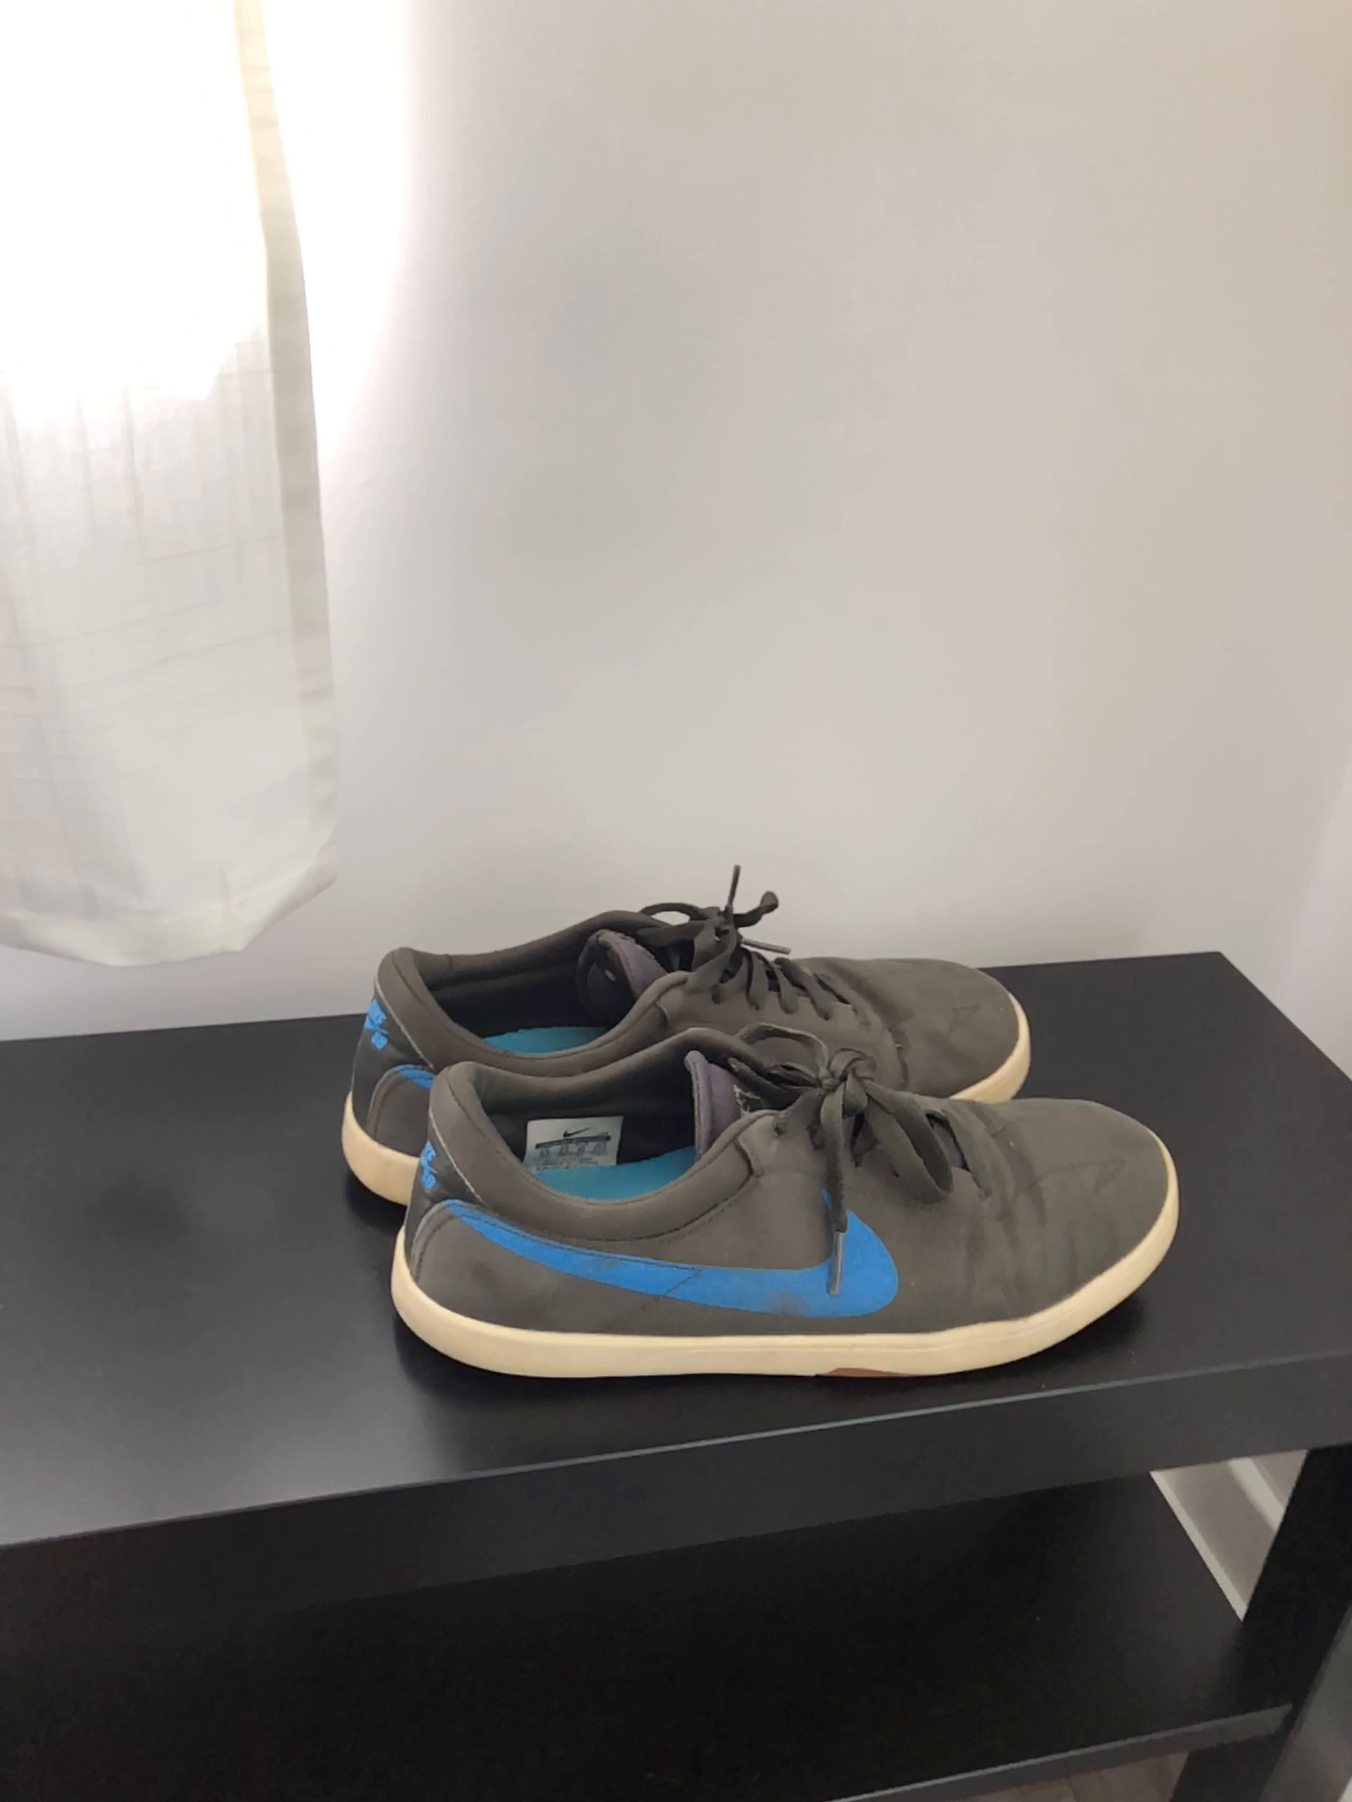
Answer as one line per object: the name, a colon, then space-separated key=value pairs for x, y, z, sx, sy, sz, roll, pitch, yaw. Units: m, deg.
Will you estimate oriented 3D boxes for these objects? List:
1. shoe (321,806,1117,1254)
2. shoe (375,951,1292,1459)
shoe: x=0.011 y=0.042 z=0.580 sx=0.280 sy=0.110 sz=0.100 roll=-4 pitch=30 yaw=-16
shoe: x=0.043 y=0.096 z=0.507 sx=0.280 sy=0.110 sz=0.100 roll=-2 pitch=29 yaw=-12
